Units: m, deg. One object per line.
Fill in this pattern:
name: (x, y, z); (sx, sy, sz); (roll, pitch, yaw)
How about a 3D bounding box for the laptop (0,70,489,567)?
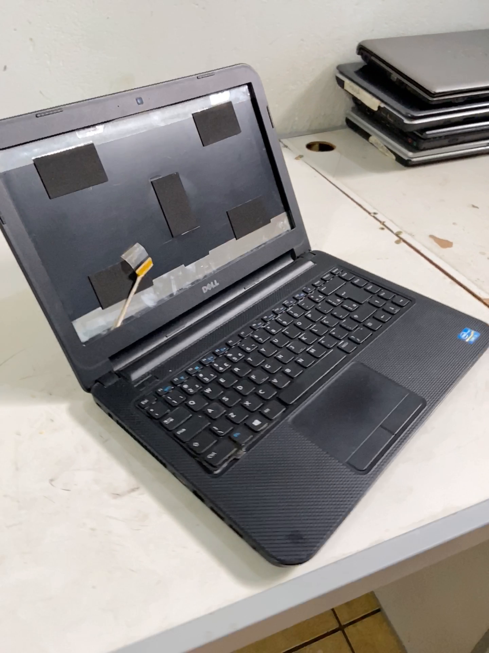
laptop: (0.020, -0.066, 0.444); (0.336, 0.193, 0.321); (31, 48, 32)
